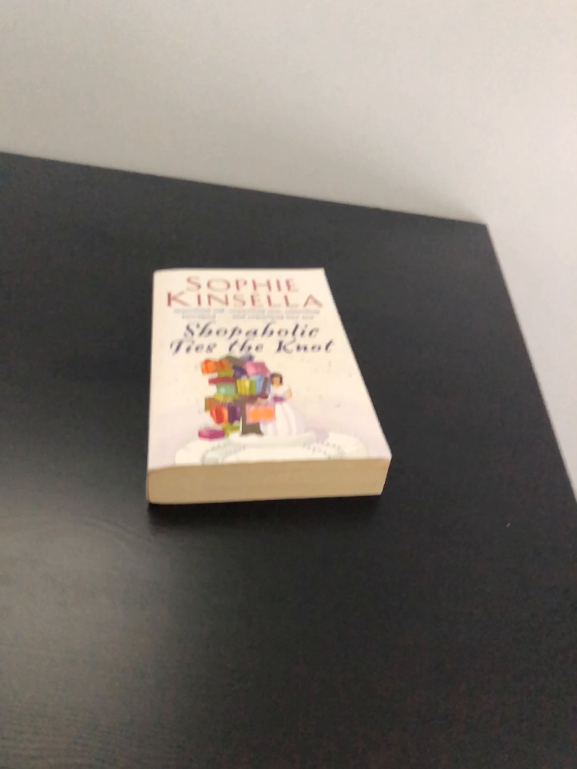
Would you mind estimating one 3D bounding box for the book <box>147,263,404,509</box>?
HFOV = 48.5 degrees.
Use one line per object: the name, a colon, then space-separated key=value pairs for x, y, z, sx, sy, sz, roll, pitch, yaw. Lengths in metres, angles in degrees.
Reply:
book: x=-0.020 y=-0.014 z=0.409 sx=0.130 sy=0.035 sz=0.201 roll=-2 pitch=39 yaw=-9
